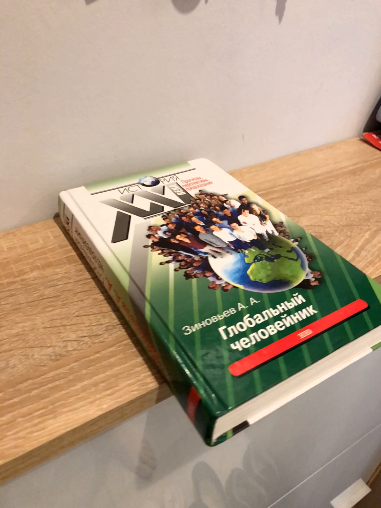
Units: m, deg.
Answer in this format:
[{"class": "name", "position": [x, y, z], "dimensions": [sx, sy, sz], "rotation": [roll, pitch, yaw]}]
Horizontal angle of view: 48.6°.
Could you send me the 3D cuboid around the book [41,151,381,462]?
[{"class": "book", "position": [0.008, -0.002, 0.274], "dimensions": [0.140, 0.020, 0.221], "rotation": [-19, 43, -26]}]
